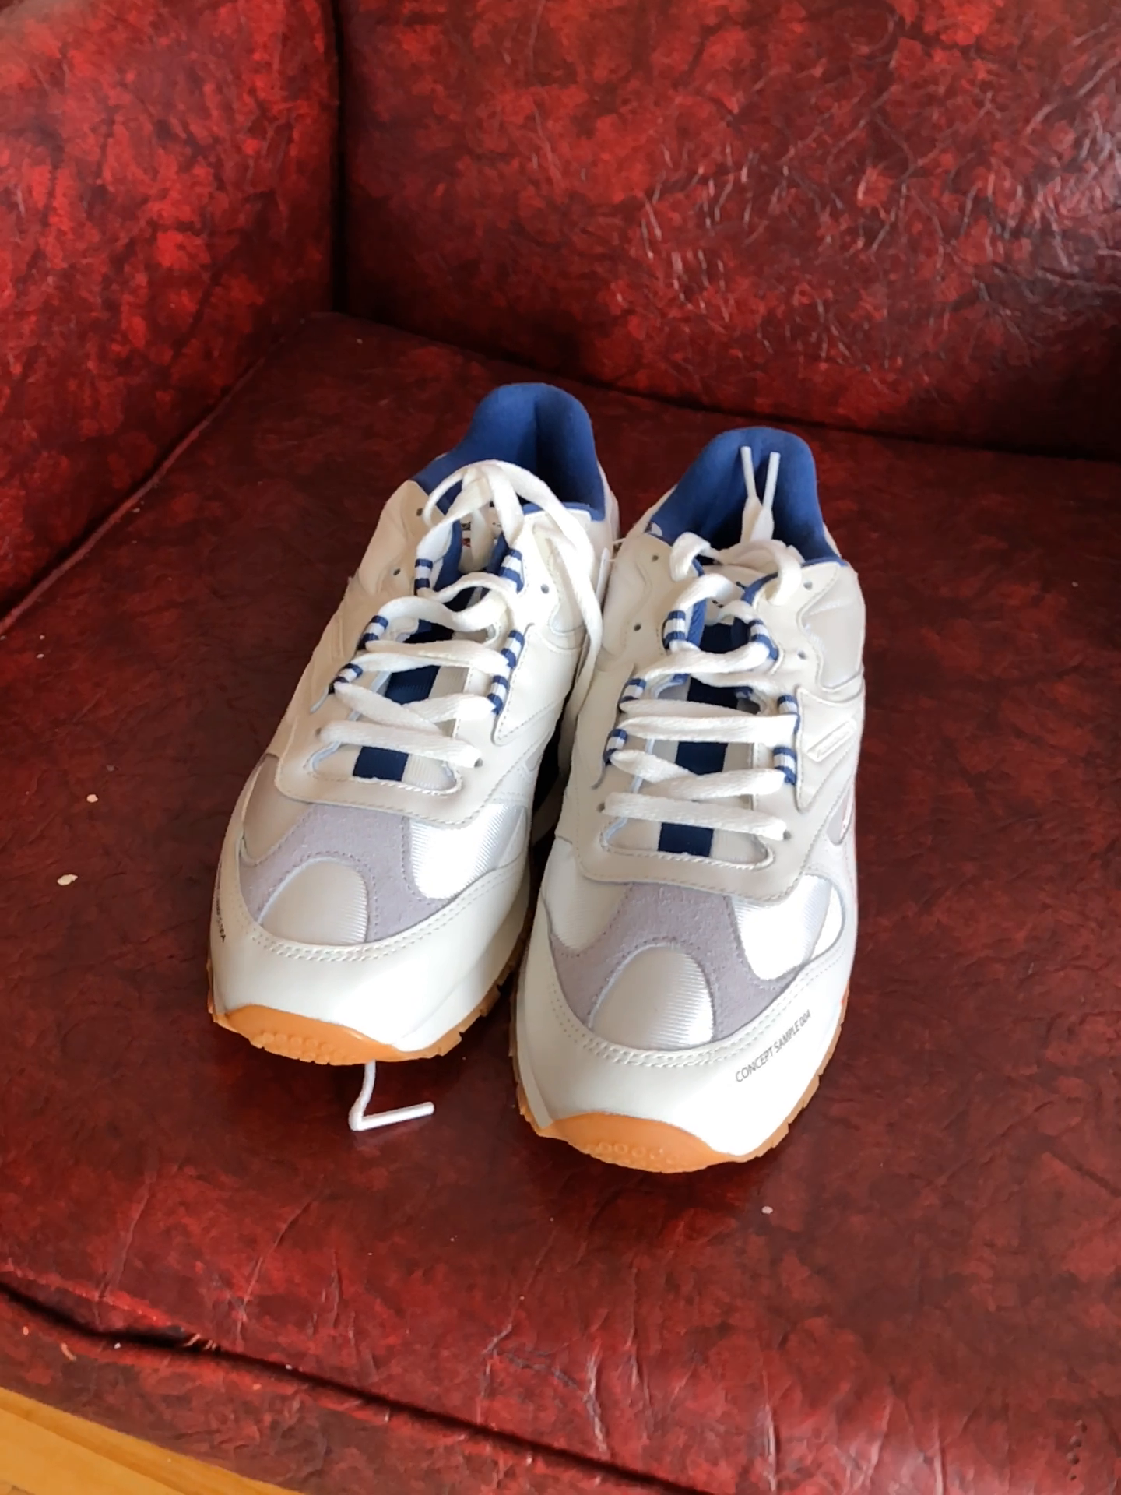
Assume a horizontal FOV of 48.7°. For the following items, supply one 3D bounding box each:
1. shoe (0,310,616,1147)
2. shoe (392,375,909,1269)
[{"bbox_3d":[-0.064,-0.026,0.418,0.110,0.099,0.272,11,49,6],"label":"shoe"},{"bbox_3d":[0.041,0.004,0.404,0.110,0.099,0.272,11,49,6],"label":"shoe"}]
